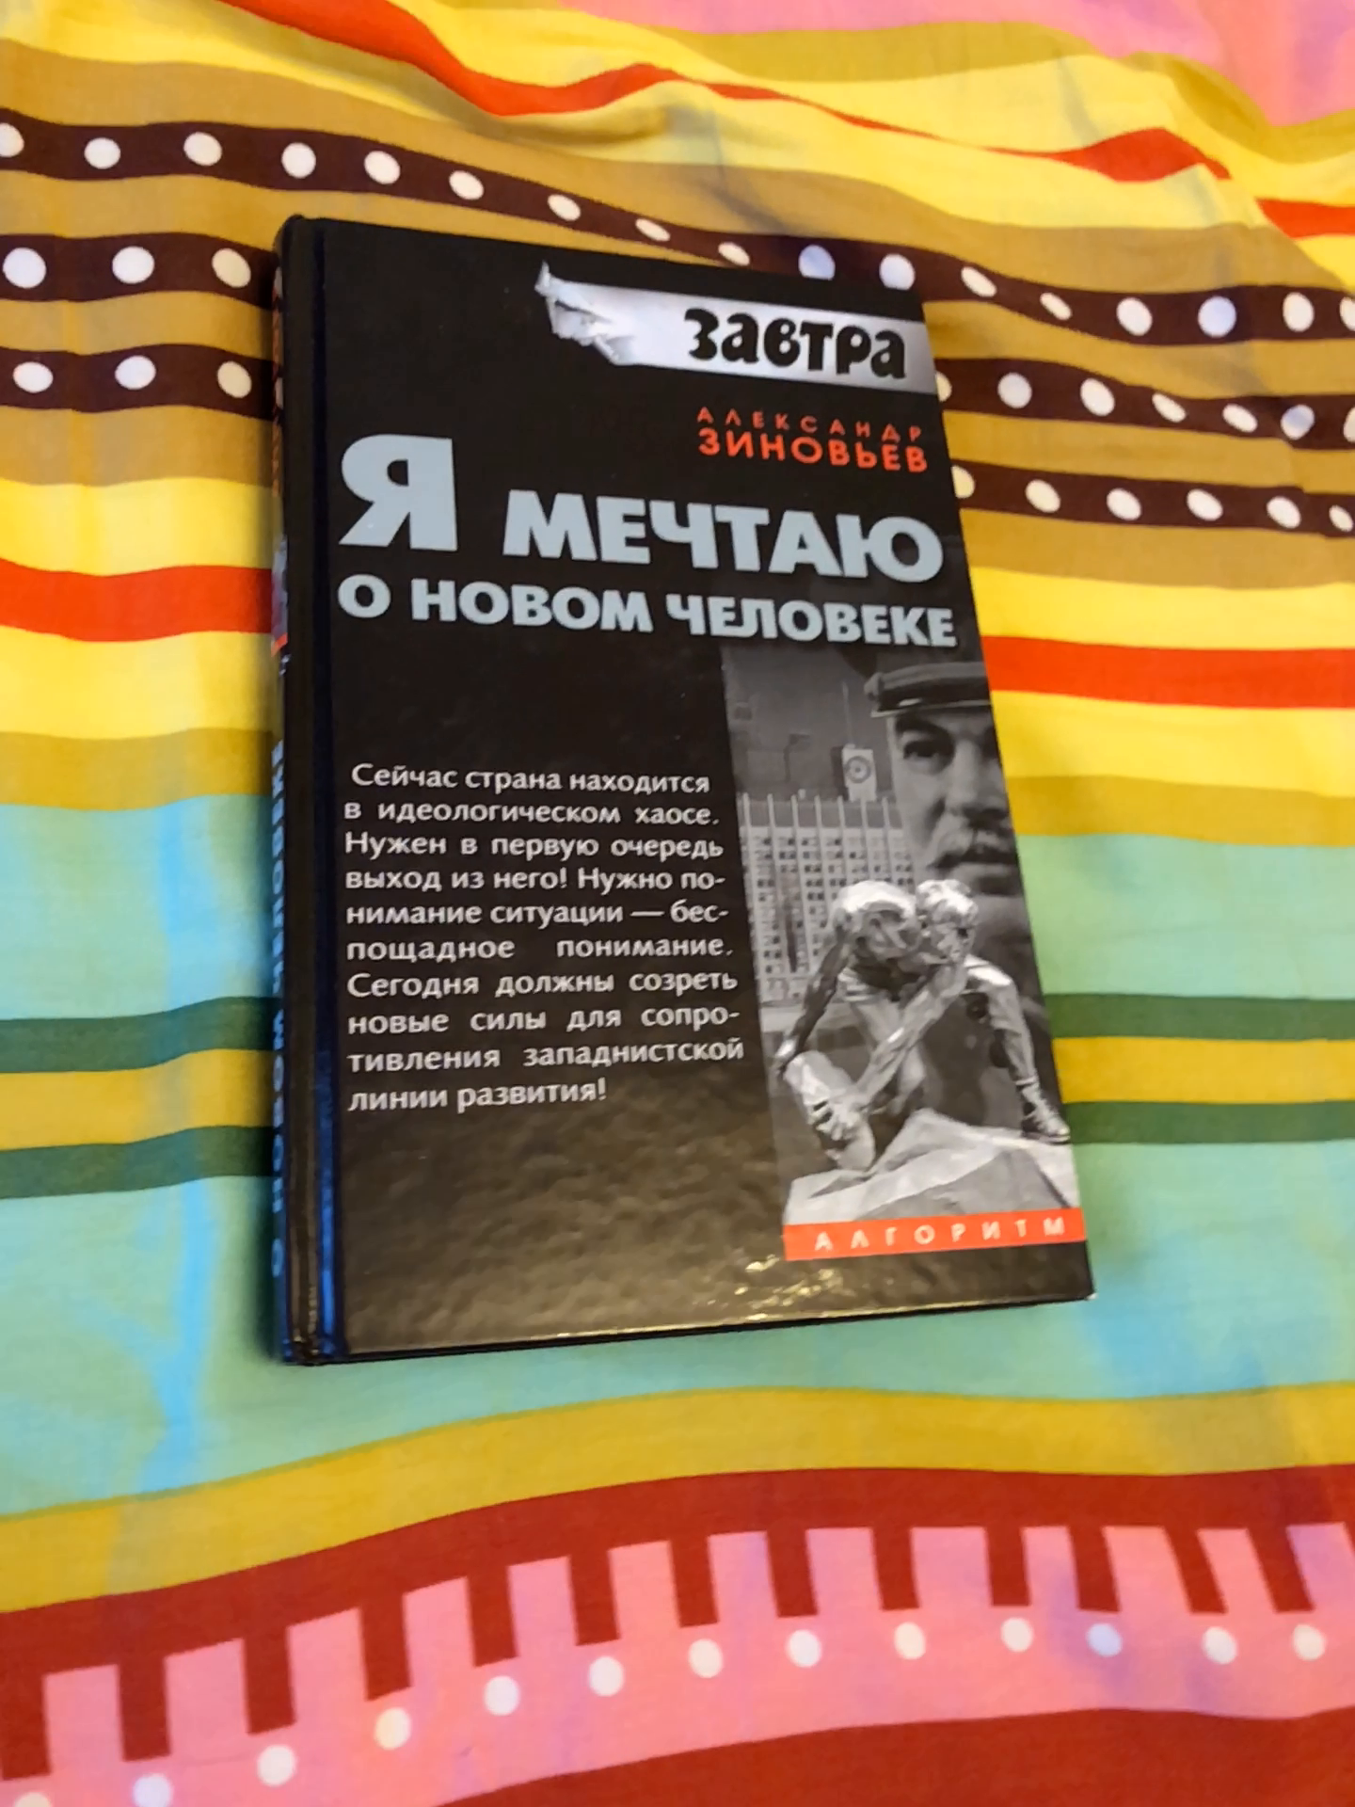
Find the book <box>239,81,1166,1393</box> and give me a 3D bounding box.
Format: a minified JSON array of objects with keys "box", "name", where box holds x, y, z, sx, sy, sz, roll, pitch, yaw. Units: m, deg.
[{"box":[-0.003,-0.035,0.264,0.140,0.030,0.220,1,72,-16],"name":"book"}]
